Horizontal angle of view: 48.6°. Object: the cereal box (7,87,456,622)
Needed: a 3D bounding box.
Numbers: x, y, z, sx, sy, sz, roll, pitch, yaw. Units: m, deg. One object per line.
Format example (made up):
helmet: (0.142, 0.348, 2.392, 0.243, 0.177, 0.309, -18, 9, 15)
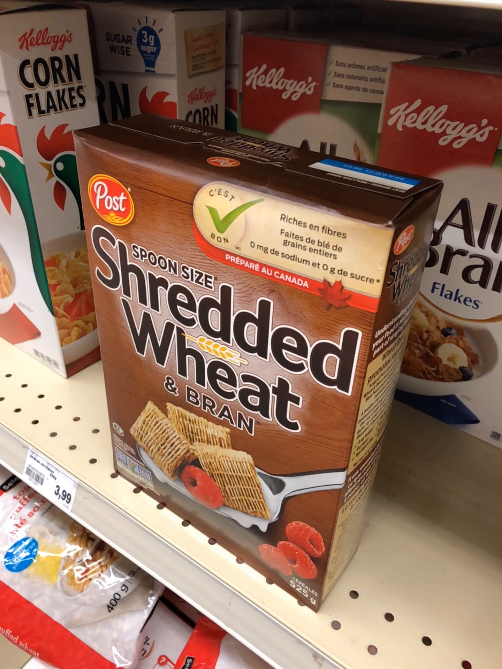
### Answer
cereal box: (-0.024, 0.008, 0.325, 0.211, 0.248, 0.070, 24, 39, 30)
